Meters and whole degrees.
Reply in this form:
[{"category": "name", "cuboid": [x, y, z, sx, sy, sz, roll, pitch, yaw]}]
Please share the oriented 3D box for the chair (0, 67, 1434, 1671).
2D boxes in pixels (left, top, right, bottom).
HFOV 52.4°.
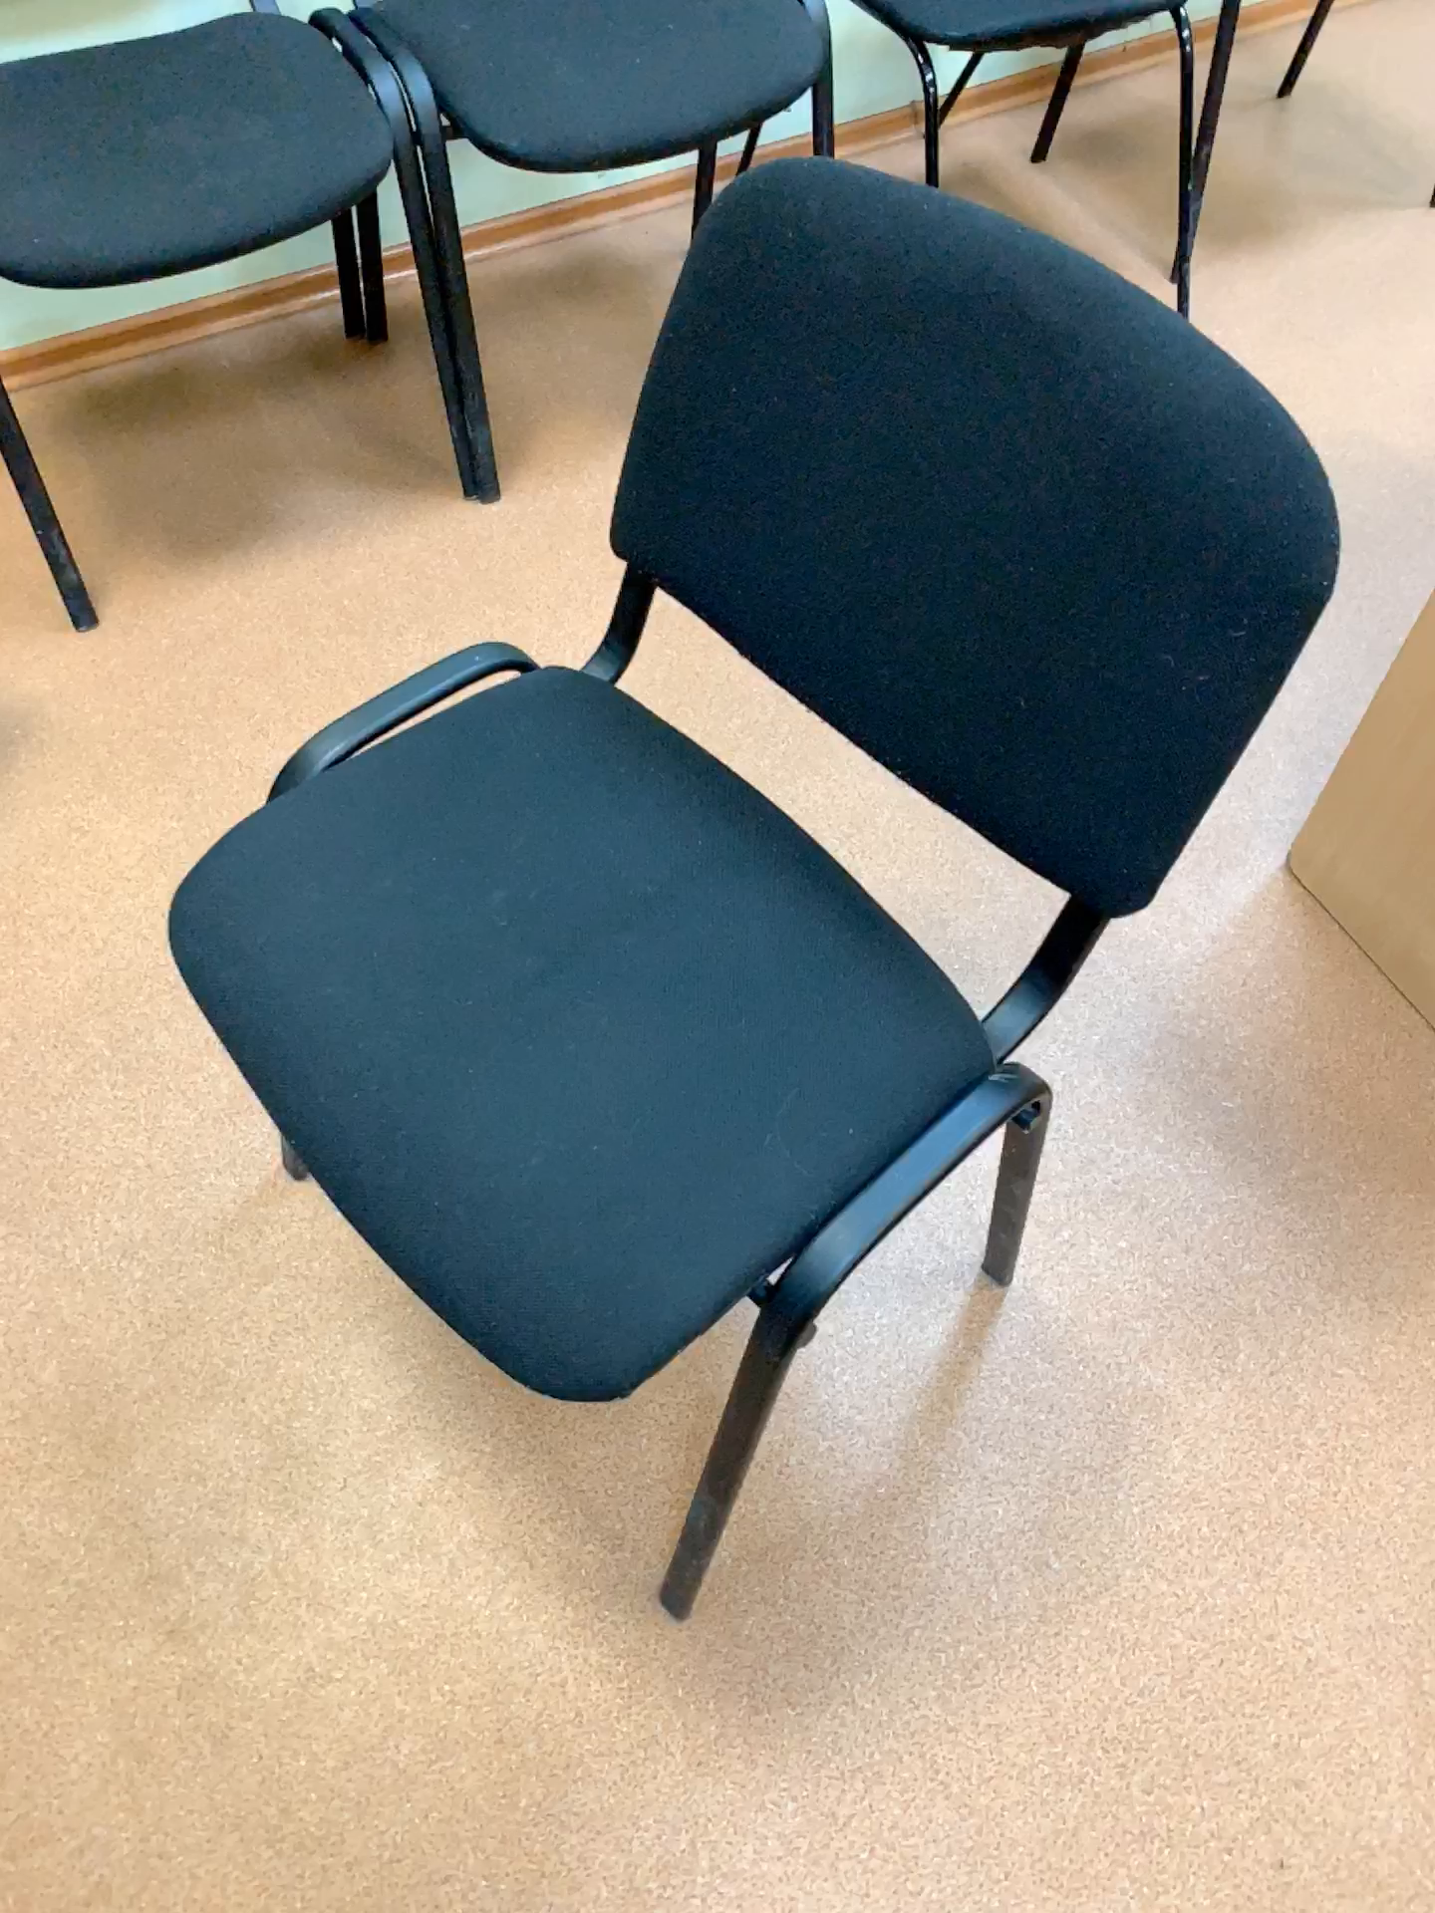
[{"category": "chair", "cuboid": [-0.022, -0.015, 1.028, 0.592, 0.784, 0.576, -36, 64, -24]}]
